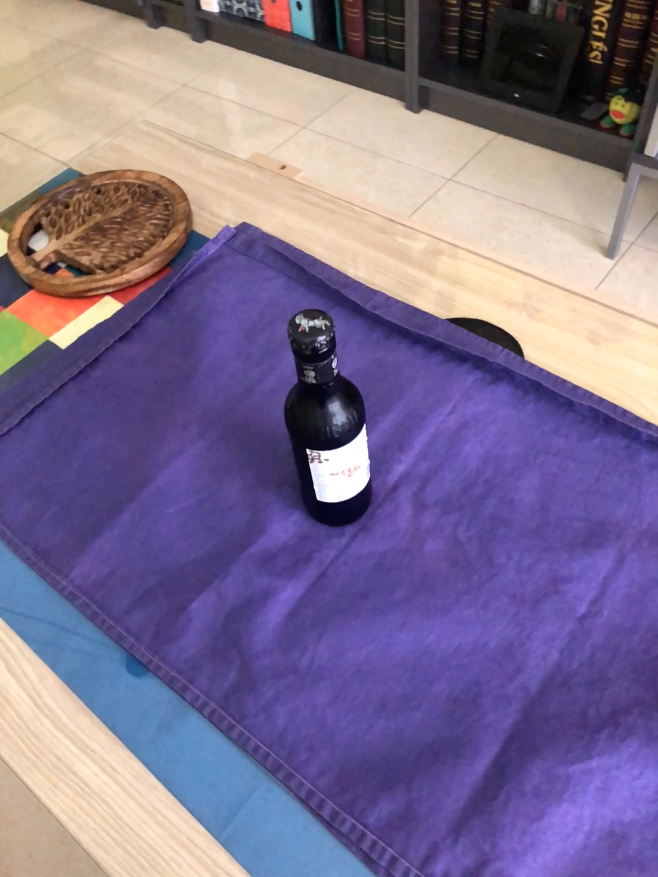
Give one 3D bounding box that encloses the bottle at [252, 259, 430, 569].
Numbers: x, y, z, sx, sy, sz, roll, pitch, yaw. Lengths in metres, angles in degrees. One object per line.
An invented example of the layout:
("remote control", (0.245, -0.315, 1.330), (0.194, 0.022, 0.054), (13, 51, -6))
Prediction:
("bottle", (0.015, -0.005, 0.471), (0.070, 0.199, 0.070), (-3, 53, 4))
